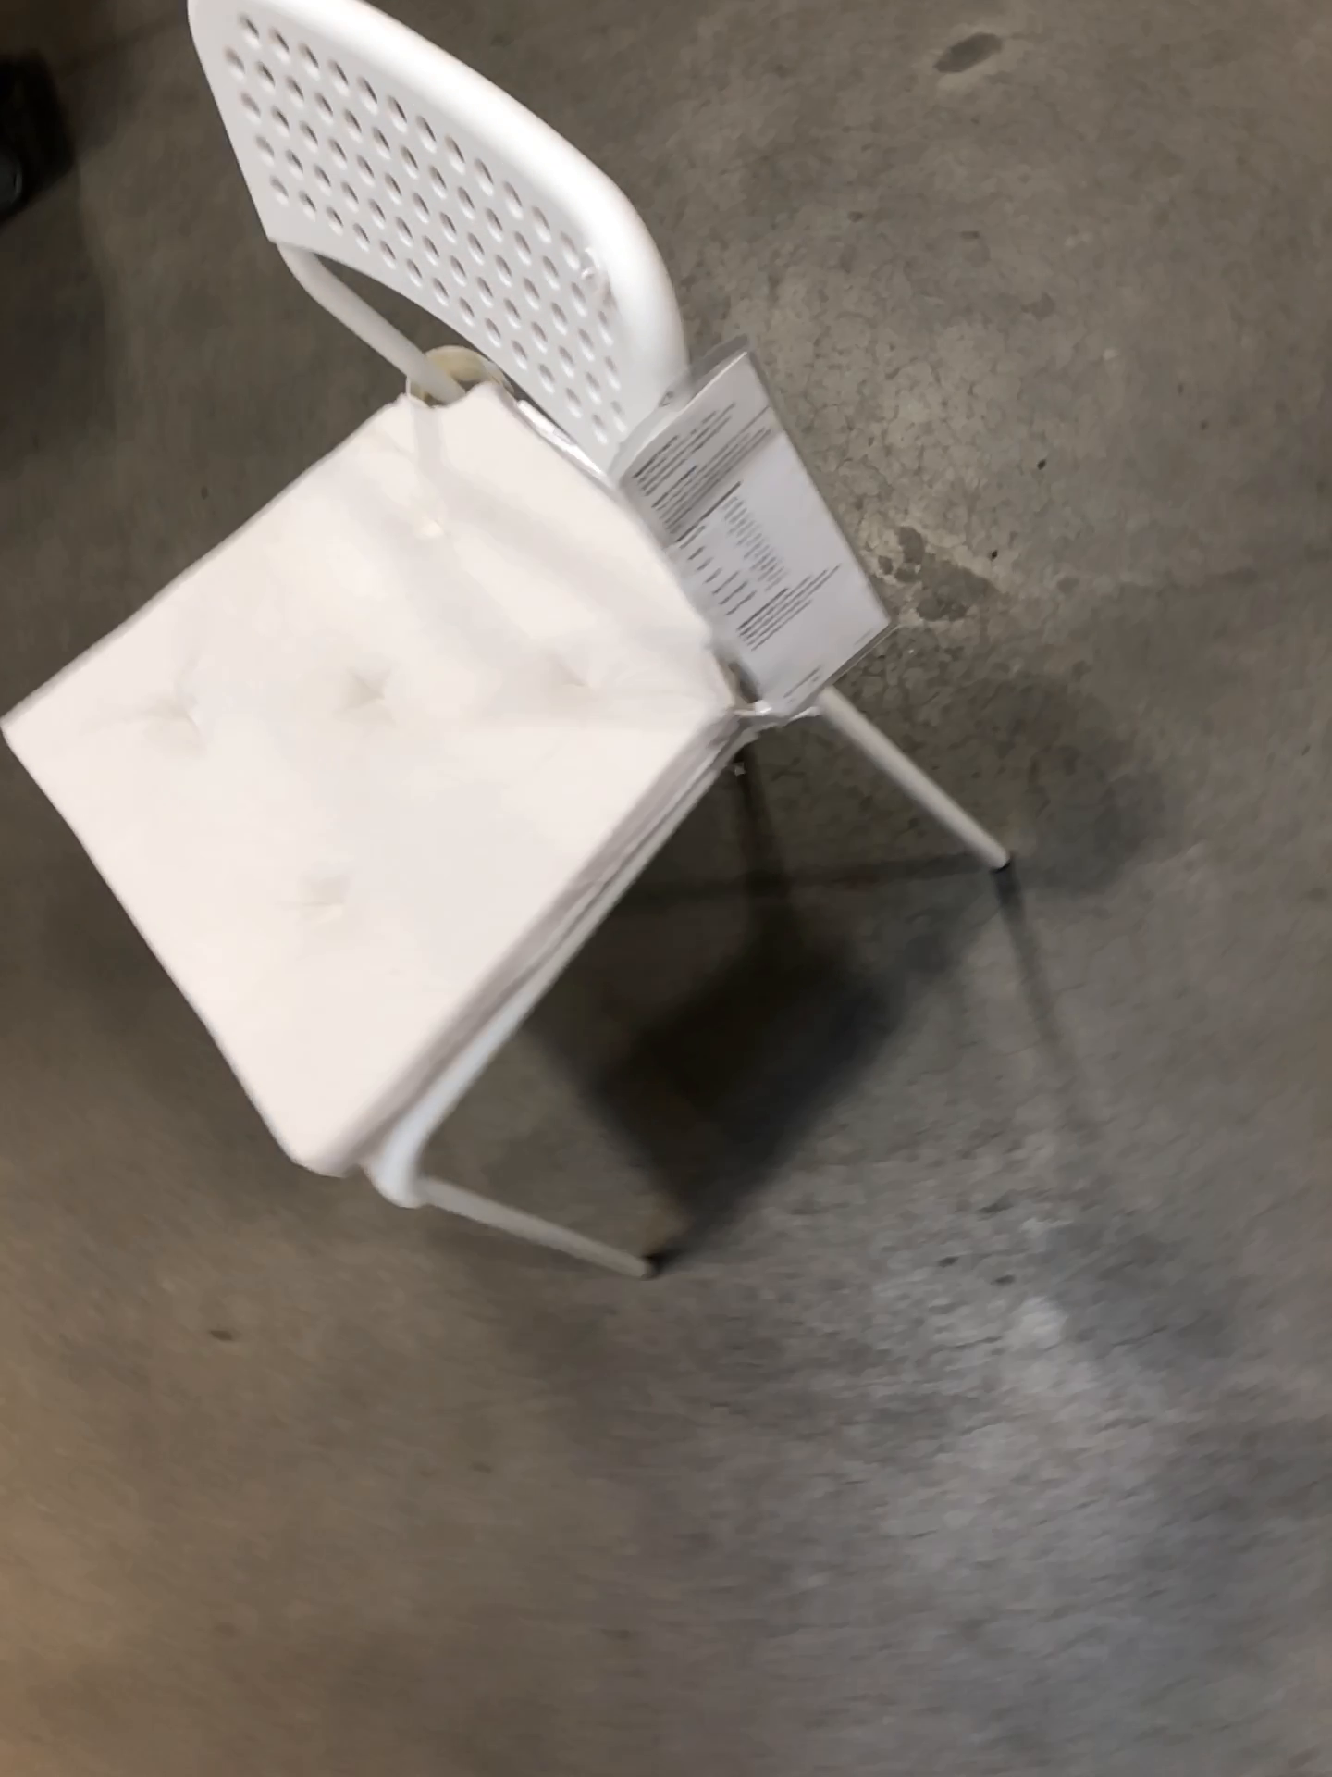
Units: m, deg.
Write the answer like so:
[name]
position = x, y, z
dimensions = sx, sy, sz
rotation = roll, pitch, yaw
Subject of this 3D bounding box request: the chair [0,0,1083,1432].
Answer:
[chair]
position = -0.138, -0.049, 0.936
dimensions = 0.481, 0.739, 0.530
rotation = 42, 91, 27
